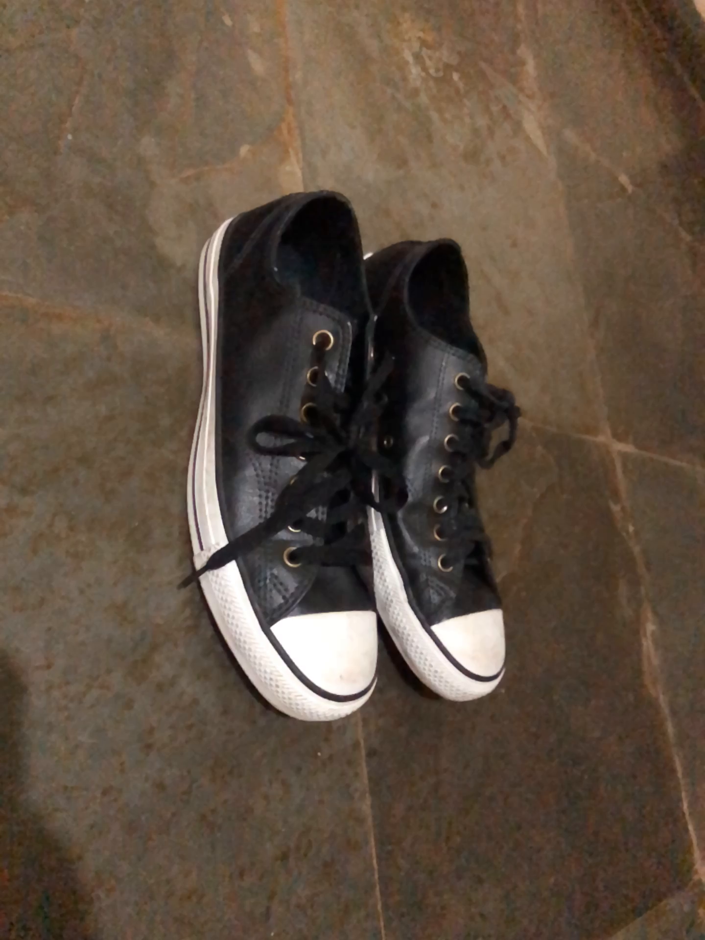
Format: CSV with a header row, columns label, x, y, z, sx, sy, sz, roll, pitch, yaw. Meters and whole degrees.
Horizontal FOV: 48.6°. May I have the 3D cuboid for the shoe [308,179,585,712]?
label,x,y,z,sx,sy,sz,roll,pitch,yaw
shoe,0.056,-0.014,0.506,0.111,0.079,0.310,7,70,-45

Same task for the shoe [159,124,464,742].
label,x,y,z,sx,sy,sz,roll,pitch,yaw
shoe,-0.027,-0.018,0.413,0.101,0.079,0.290,7,70,-45
